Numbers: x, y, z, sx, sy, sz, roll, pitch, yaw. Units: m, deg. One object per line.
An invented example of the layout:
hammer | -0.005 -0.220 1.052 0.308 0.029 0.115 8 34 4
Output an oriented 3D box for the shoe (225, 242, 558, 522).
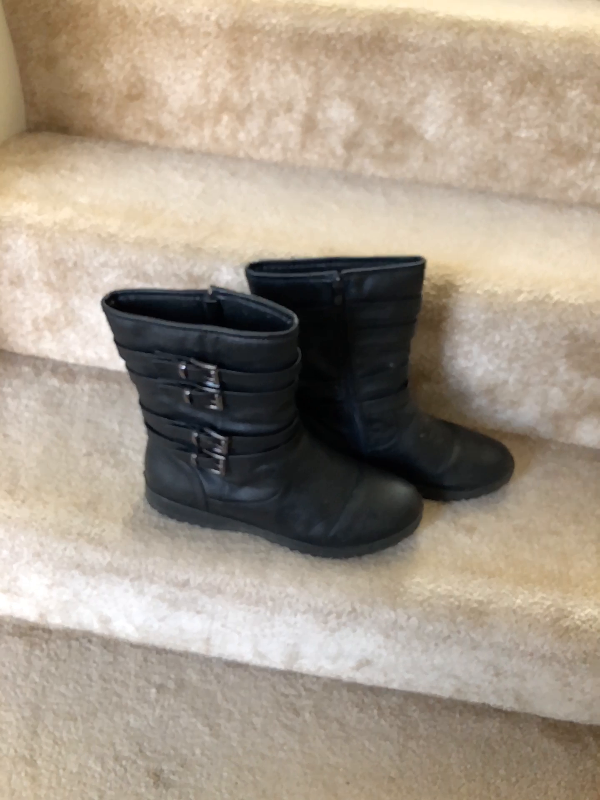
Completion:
shoe | 0.080 -0.017 0.649 0.270 0.218 0.101 8 38 10

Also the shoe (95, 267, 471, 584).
shoe | -0.015 0.023 0.572 0.270 0.199 0.101 12 39 7
